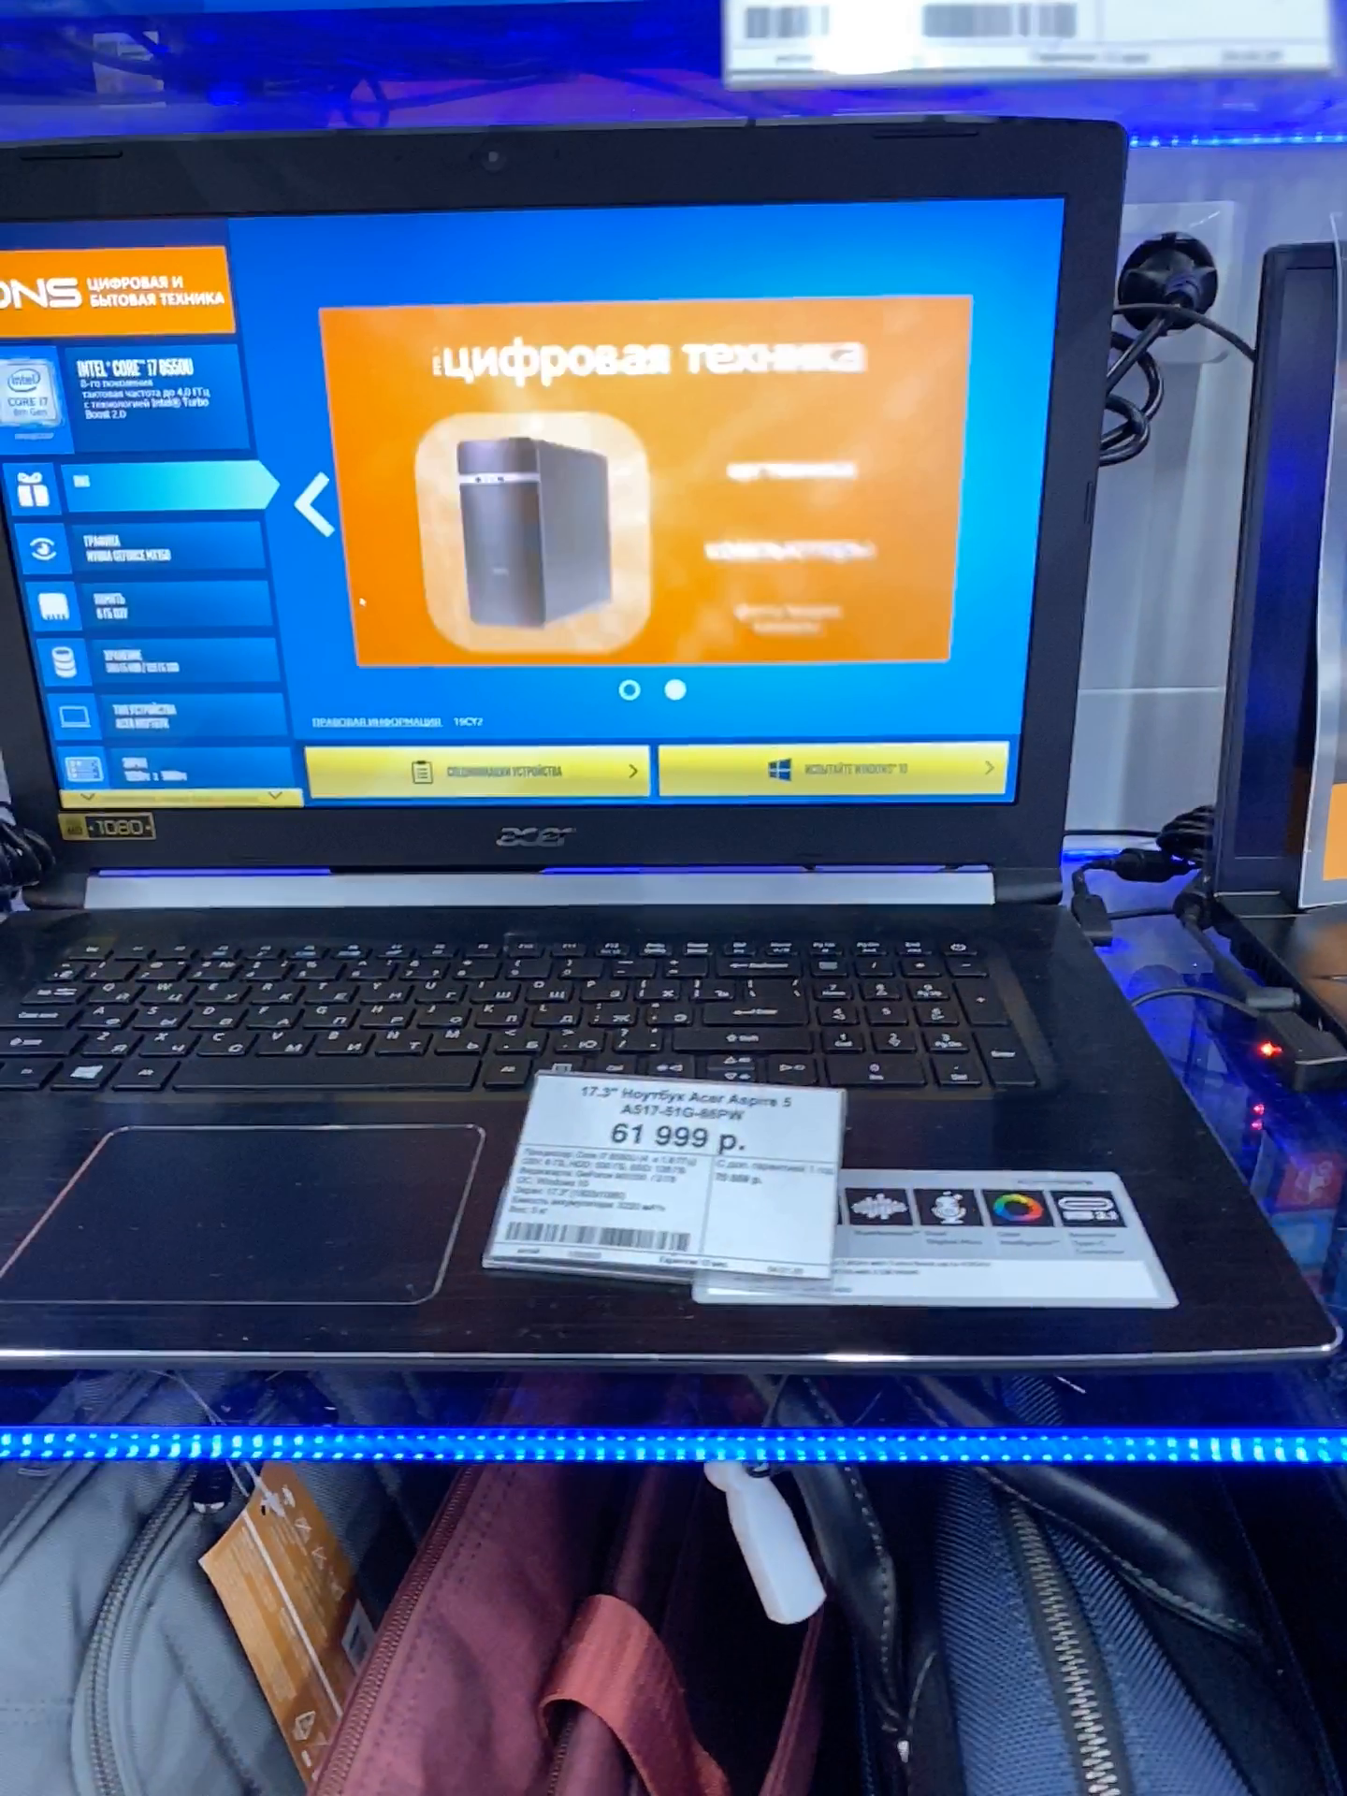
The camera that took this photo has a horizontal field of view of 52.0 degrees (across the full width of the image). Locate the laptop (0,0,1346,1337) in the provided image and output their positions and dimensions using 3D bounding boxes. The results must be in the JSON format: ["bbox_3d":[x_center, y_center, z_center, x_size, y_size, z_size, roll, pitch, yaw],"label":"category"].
[{"bbox_3d":[-0.063,-0.080,0.388,0.421,0.277,0.273,0,20,2],"label":"laptop"}]
